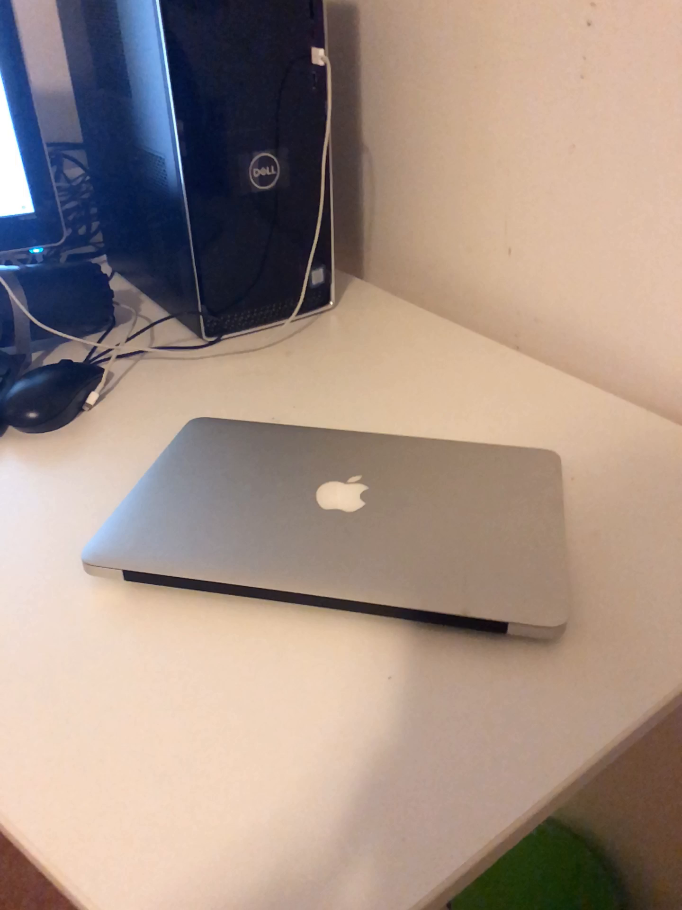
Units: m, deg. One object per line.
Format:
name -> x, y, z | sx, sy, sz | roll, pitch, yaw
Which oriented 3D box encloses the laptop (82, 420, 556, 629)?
laptop -> -0.002, 0.034, 0.519 | 0.290, 0.004, 0.179 | 6, 33, 11
